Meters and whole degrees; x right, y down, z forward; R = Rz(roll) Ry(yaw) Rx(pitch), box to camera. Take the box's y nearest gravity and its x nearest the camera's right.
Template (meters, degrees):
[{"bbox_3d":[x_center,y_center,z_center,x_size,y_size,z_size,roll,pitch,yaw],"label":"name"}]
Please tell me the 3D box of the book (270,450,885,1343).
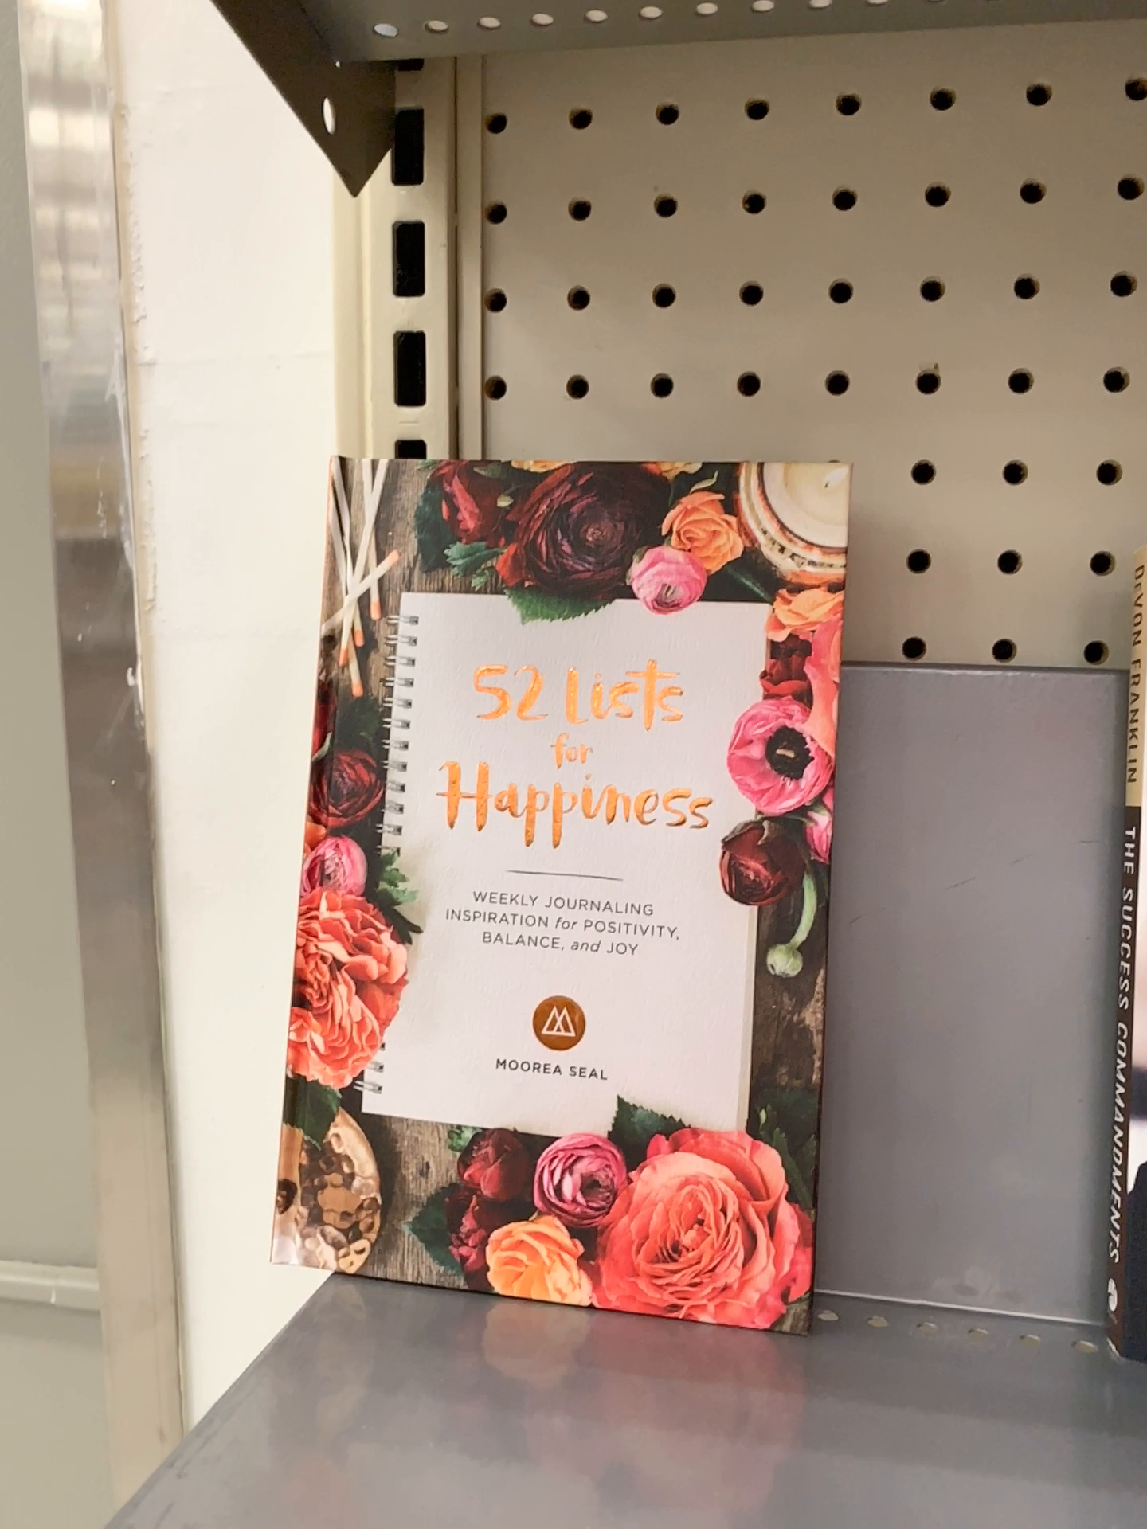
[{"bbox_3d":[0.001,0.027,0.314,0.150,0.217,0.020,2,-4,11],"label":"book"}]
